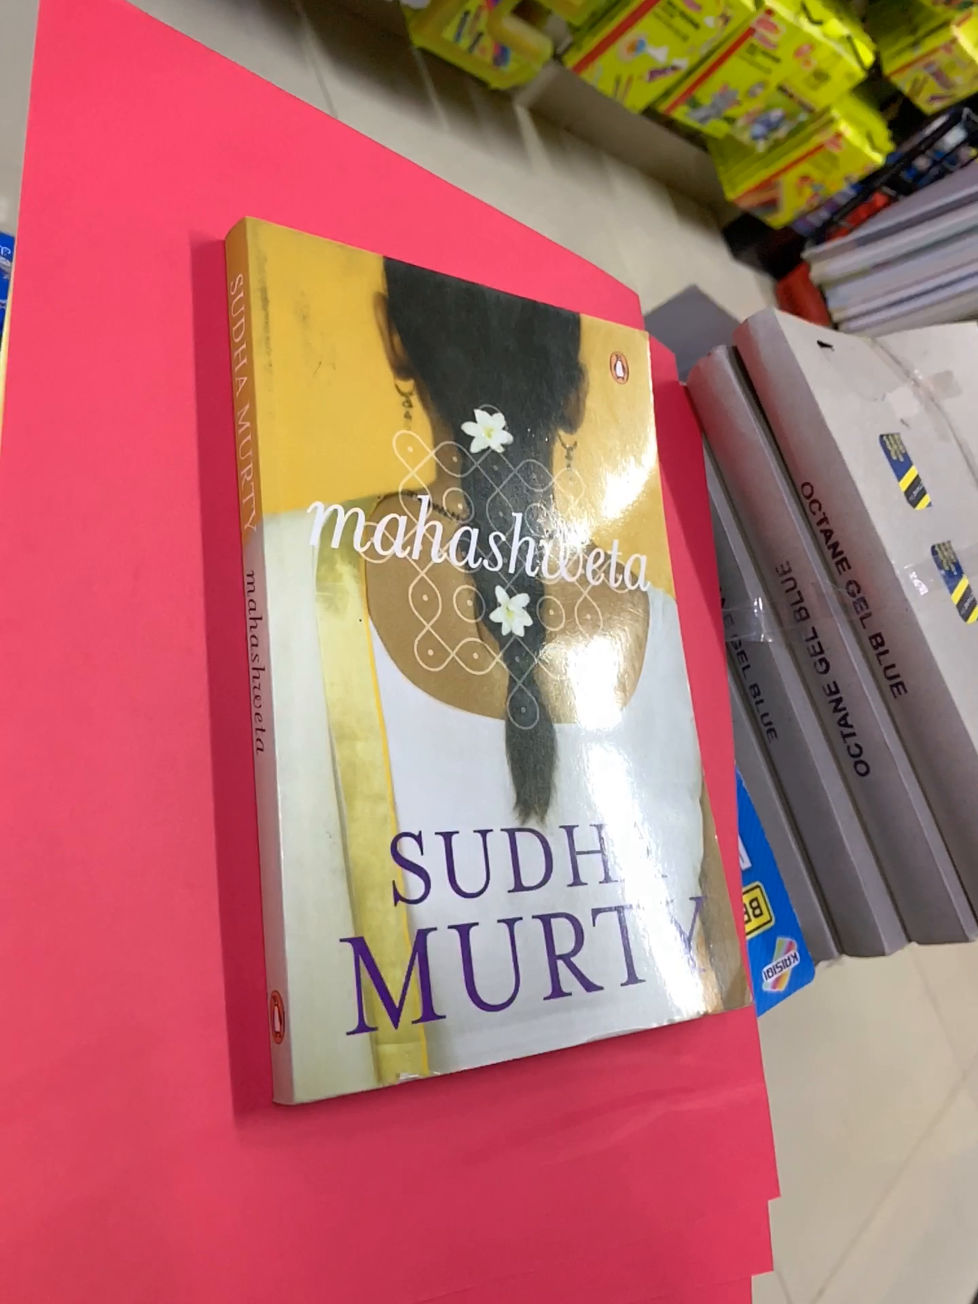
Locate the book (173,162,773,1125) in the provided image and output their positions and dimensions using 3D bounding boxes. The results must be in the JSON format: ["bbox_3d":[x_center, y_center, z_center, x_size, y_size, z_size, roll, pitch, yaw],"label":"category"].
[{"bbox_3d":[-0.002,-0.007,0.251,0.141,0.020,0.200,4,72,-34],"label":"book"}]
